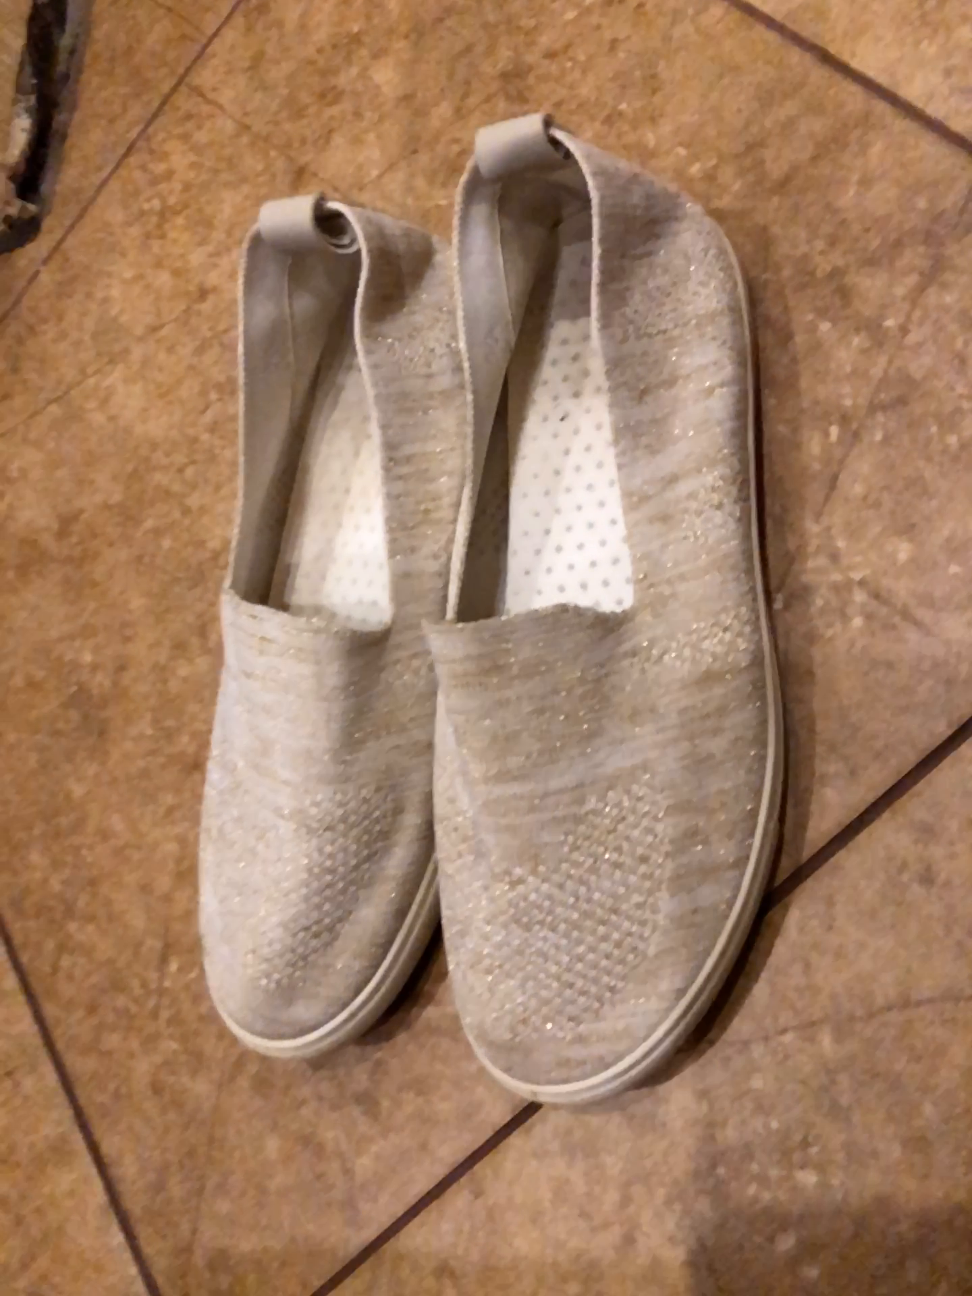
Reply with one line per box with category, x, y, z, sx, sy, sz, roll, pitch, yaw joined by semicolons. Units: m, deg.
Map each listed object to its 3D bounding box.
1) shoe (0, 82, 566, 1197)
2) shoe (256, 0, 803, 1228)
shoe;-0.057;-0.007;0.291;0.090;0.080;0.250;6;82;31
shoe;0.020;-0.014;0.276;0.100;0.080;0.260;-2;78;29
